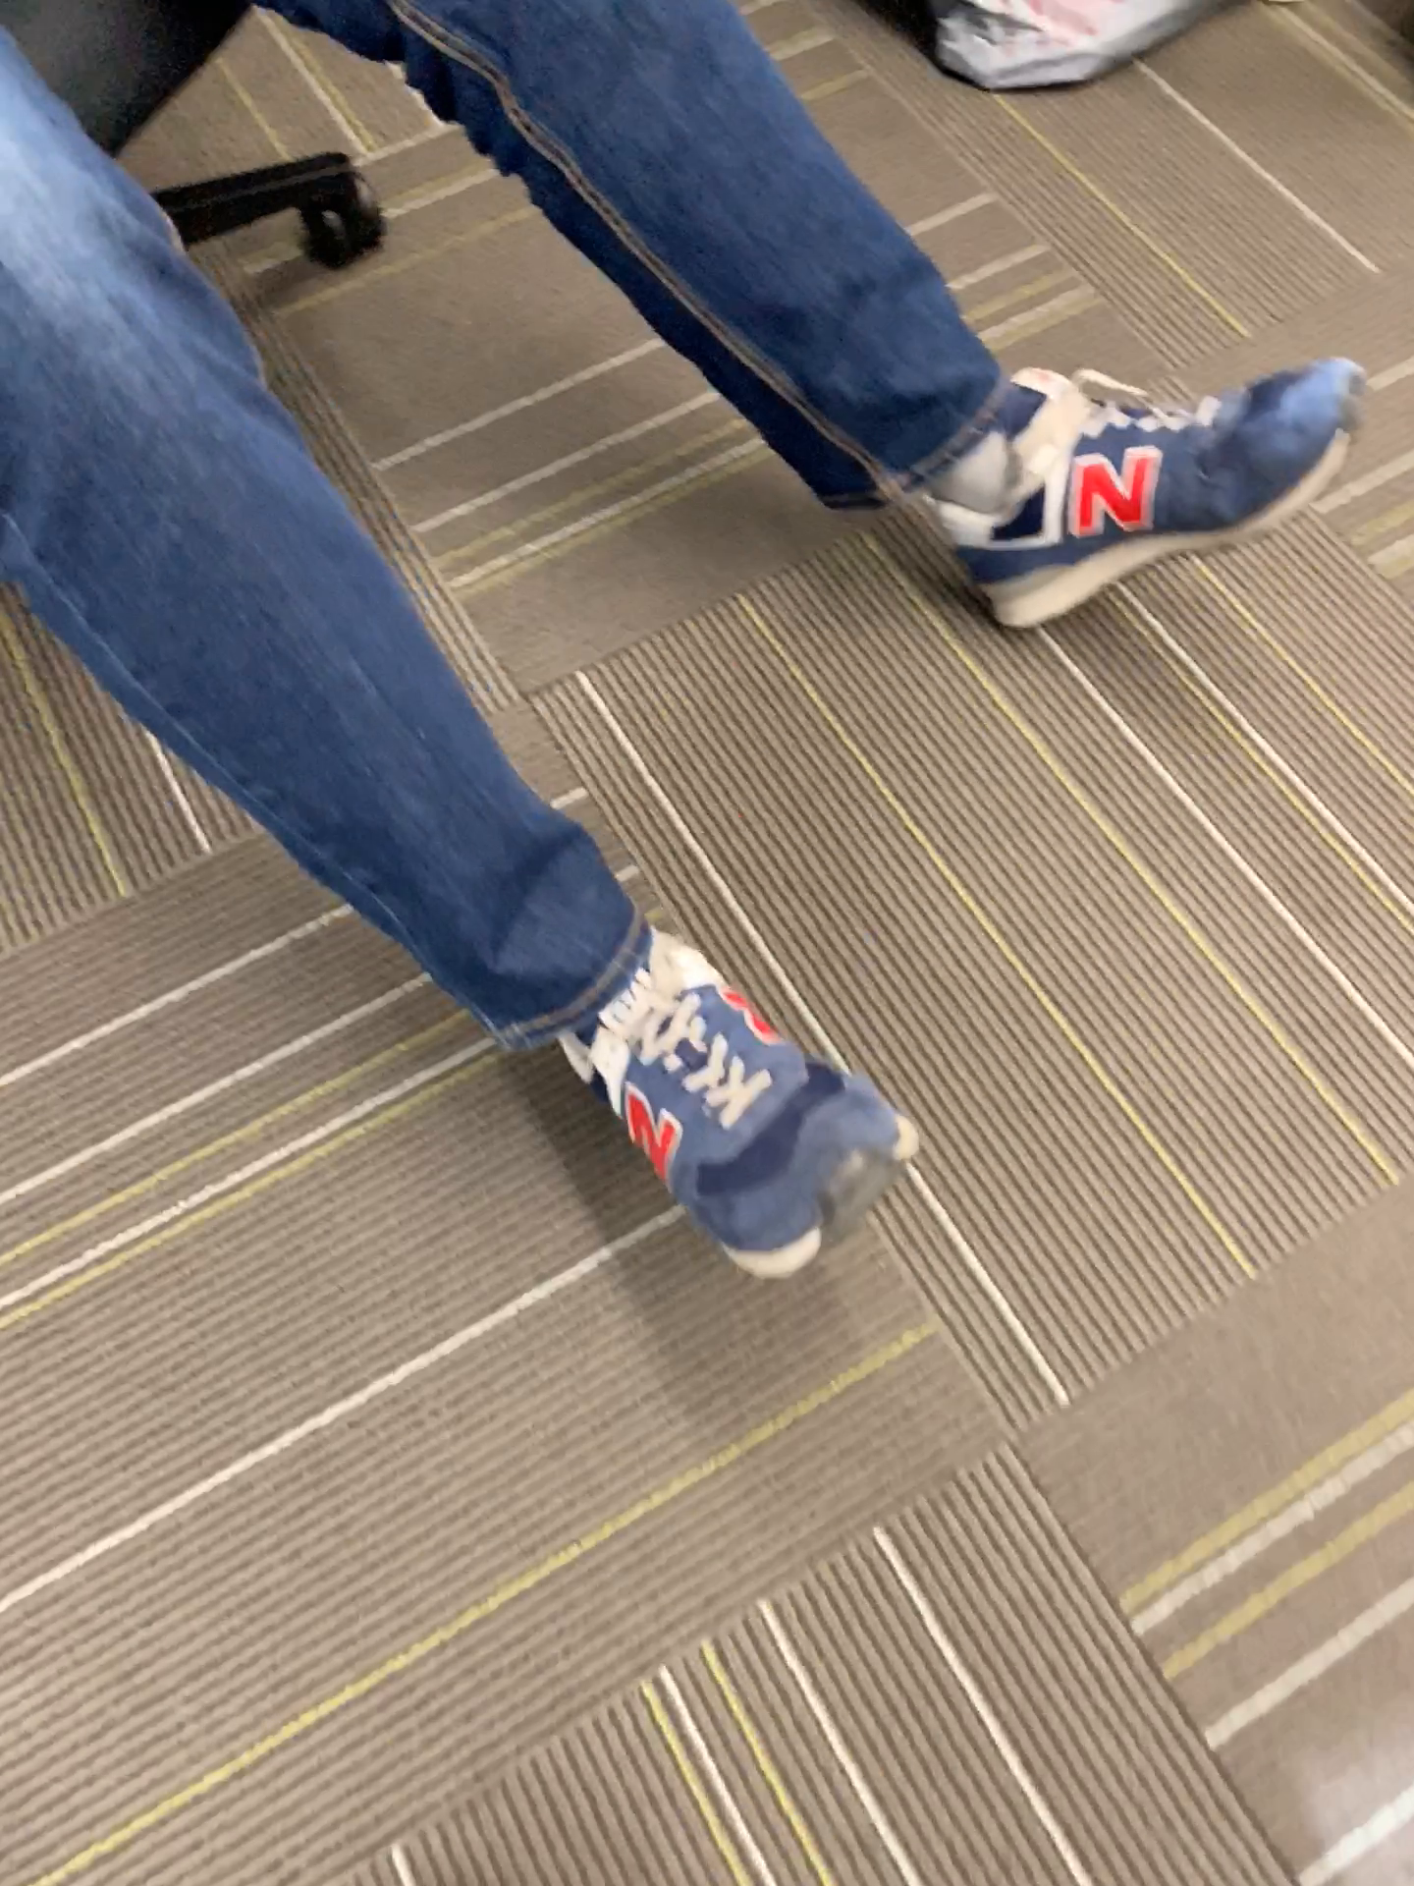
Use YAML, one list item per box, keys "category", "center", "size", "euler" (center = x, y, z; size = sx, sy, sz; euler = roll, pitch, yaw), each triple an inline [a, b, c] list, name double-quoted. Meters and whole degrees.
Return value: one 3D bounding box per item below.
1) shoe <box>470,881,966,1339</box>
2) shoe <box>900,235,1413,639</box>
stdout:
- category: "shoe"
  center: [-0.012, 0.075, 0.804]
  size: [0.135, 0.297, 0.120]
  euler: [43, 83, -23]
- category: "shoe"
  center: [0.281, -0.315, 0.946]
  size: [0.095, 0.303, 0.115]
  euler: [36, 65, -26]
